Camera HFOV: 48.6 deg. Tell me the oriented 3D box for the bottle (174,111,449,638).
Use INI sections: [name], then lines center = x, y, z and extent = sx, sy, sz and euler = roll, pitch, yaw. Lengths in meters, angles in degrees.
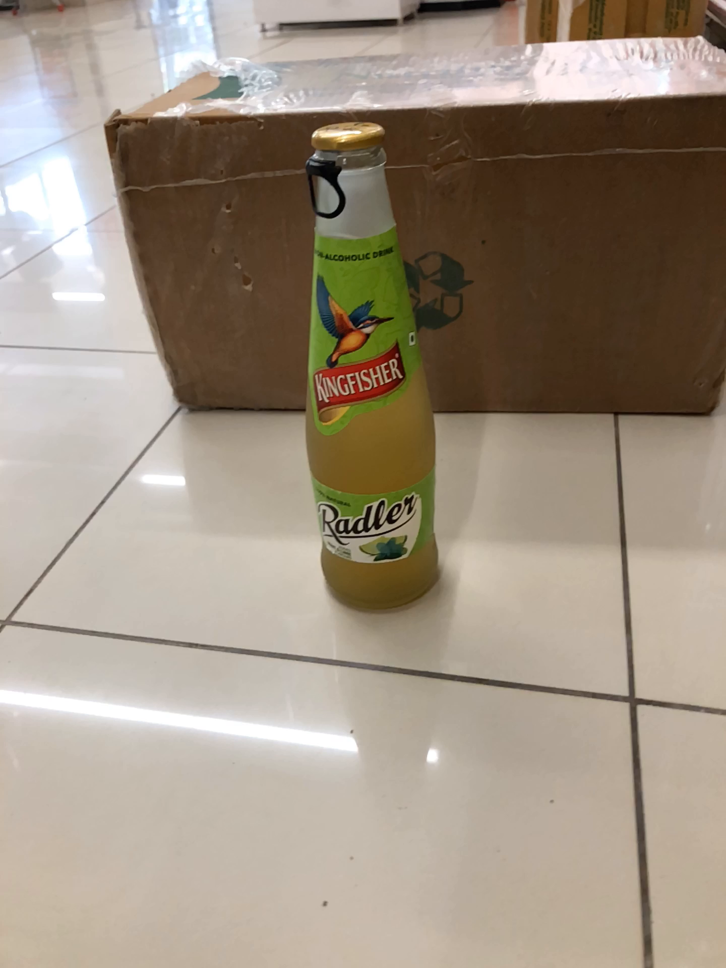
[bottle]
center = -0.007, -0.039, 0.336
extent = 0.080, 0.199, 0.081
euler = -3, 34, 2
